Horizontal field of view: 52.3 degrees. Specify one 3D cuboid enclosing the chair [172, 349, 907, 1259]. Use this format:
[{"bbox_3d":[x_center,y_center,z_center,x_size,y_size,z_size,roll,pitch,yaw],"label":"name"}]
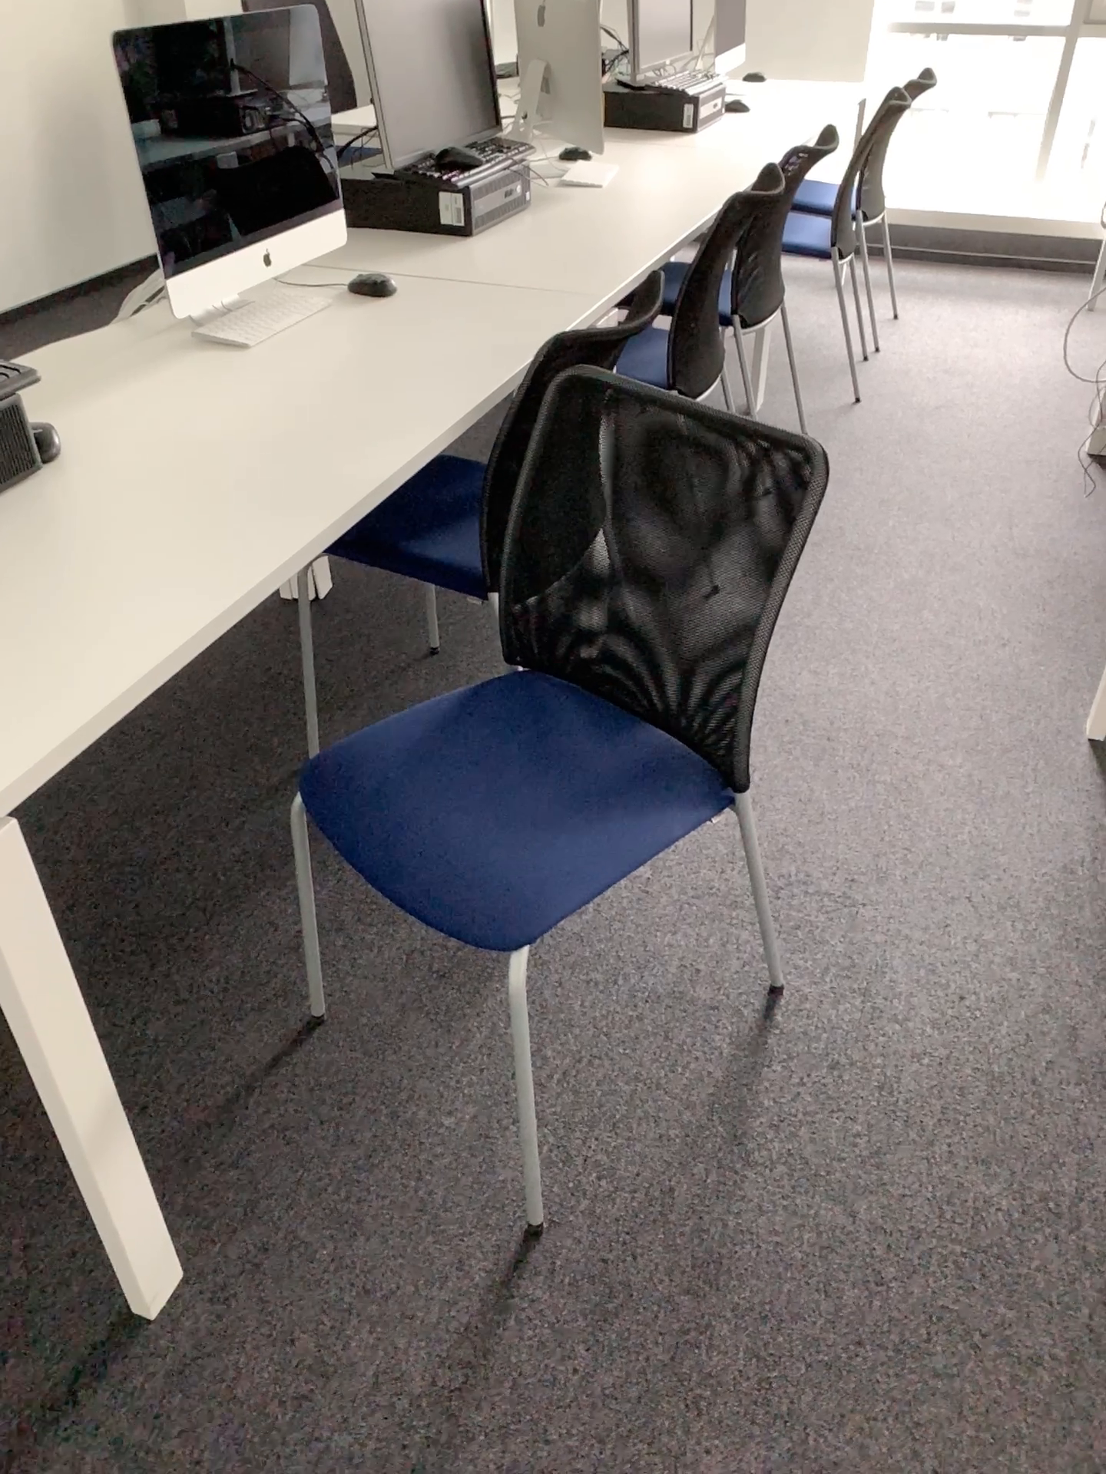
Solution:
[{"bbox_3d":[-0.009,0.062,1.498,0.541,0.895,0.602,30,45,35],"label":"chair"}]
